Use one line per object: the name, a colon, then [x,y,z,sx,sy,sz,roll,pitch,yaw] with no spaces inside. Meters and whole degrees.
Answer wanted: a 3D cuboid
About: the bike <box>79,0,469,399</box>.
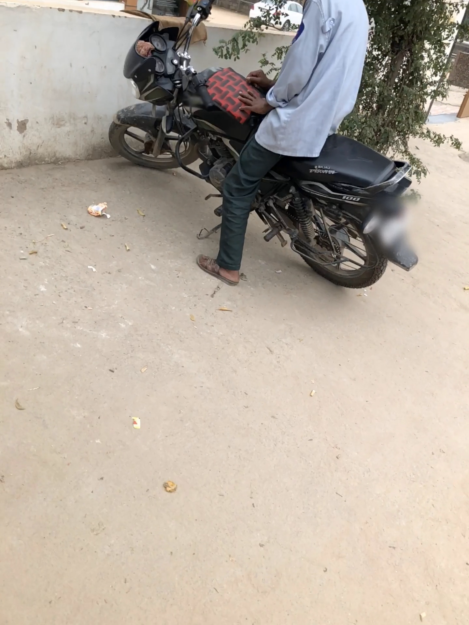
bike: [0.077,-0.702,2.423,1.497,1.332,0.790,30,36,22]
